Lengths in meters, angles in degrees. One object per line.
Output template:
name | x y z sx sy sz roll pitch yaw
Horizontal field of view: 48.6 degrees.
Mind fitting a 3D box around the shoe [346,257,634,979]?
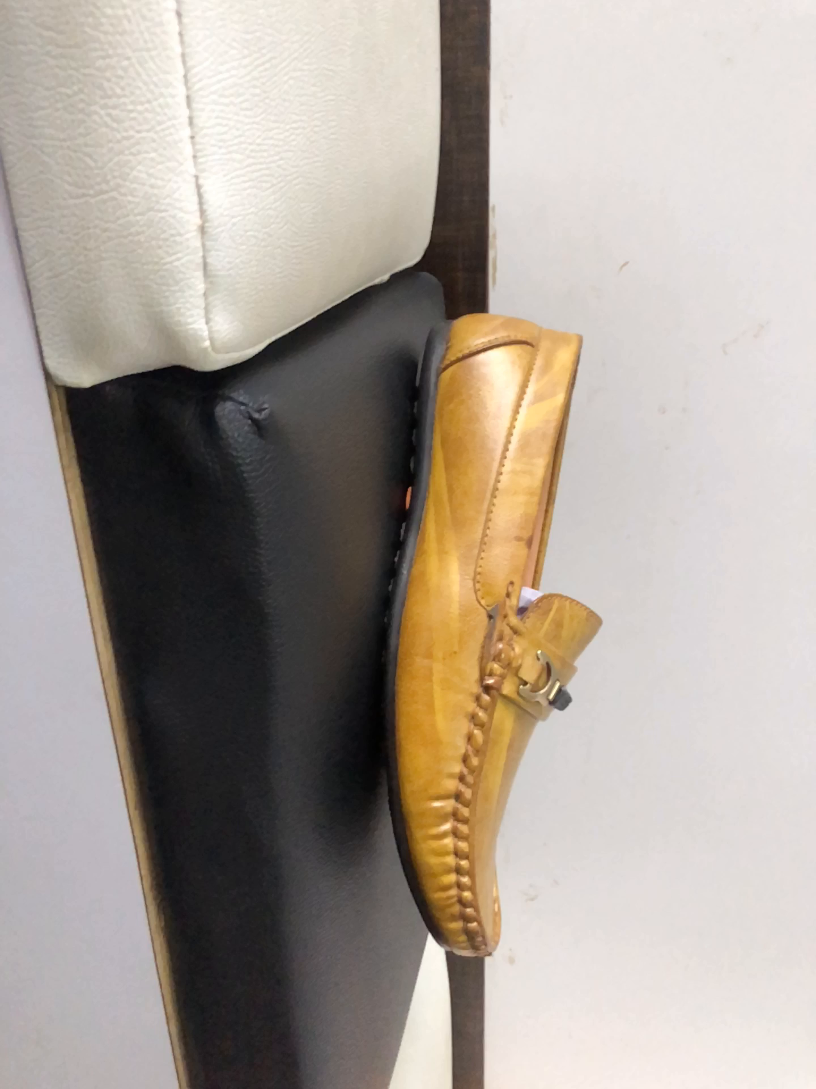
shoe | 0.049 0.032 0.426 0.171 0.090 0.270 50 44 -74
